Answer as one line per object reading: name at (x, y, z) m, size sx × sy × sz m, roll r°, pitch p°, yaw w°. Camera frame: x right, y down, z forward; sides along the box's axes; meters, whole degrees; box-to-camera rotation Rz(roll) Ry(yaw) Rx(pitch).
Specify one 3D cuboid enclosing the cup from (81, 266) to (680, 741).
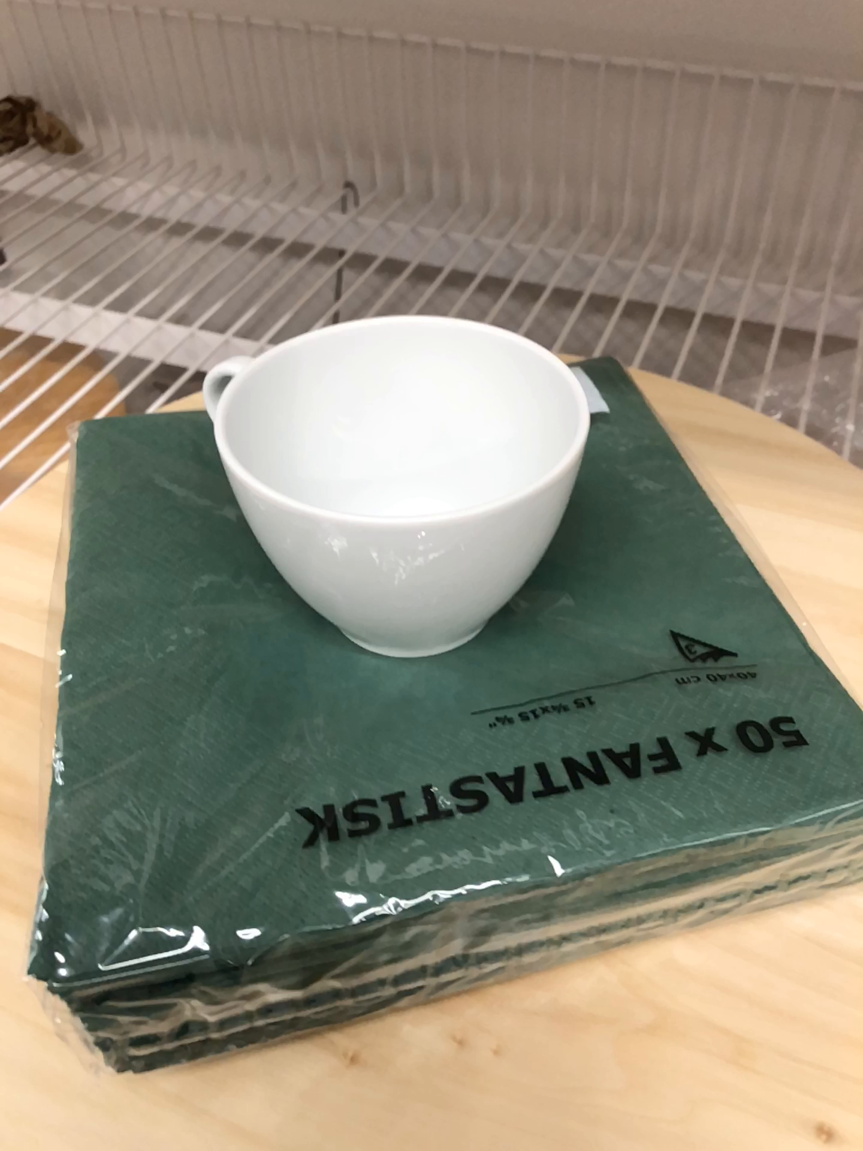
cup at (-0.011, -0.028, 0.259) m, size 0.120 × 0.050 × 0.090 m, roll 23°, pitch 49°, yaw 24°
